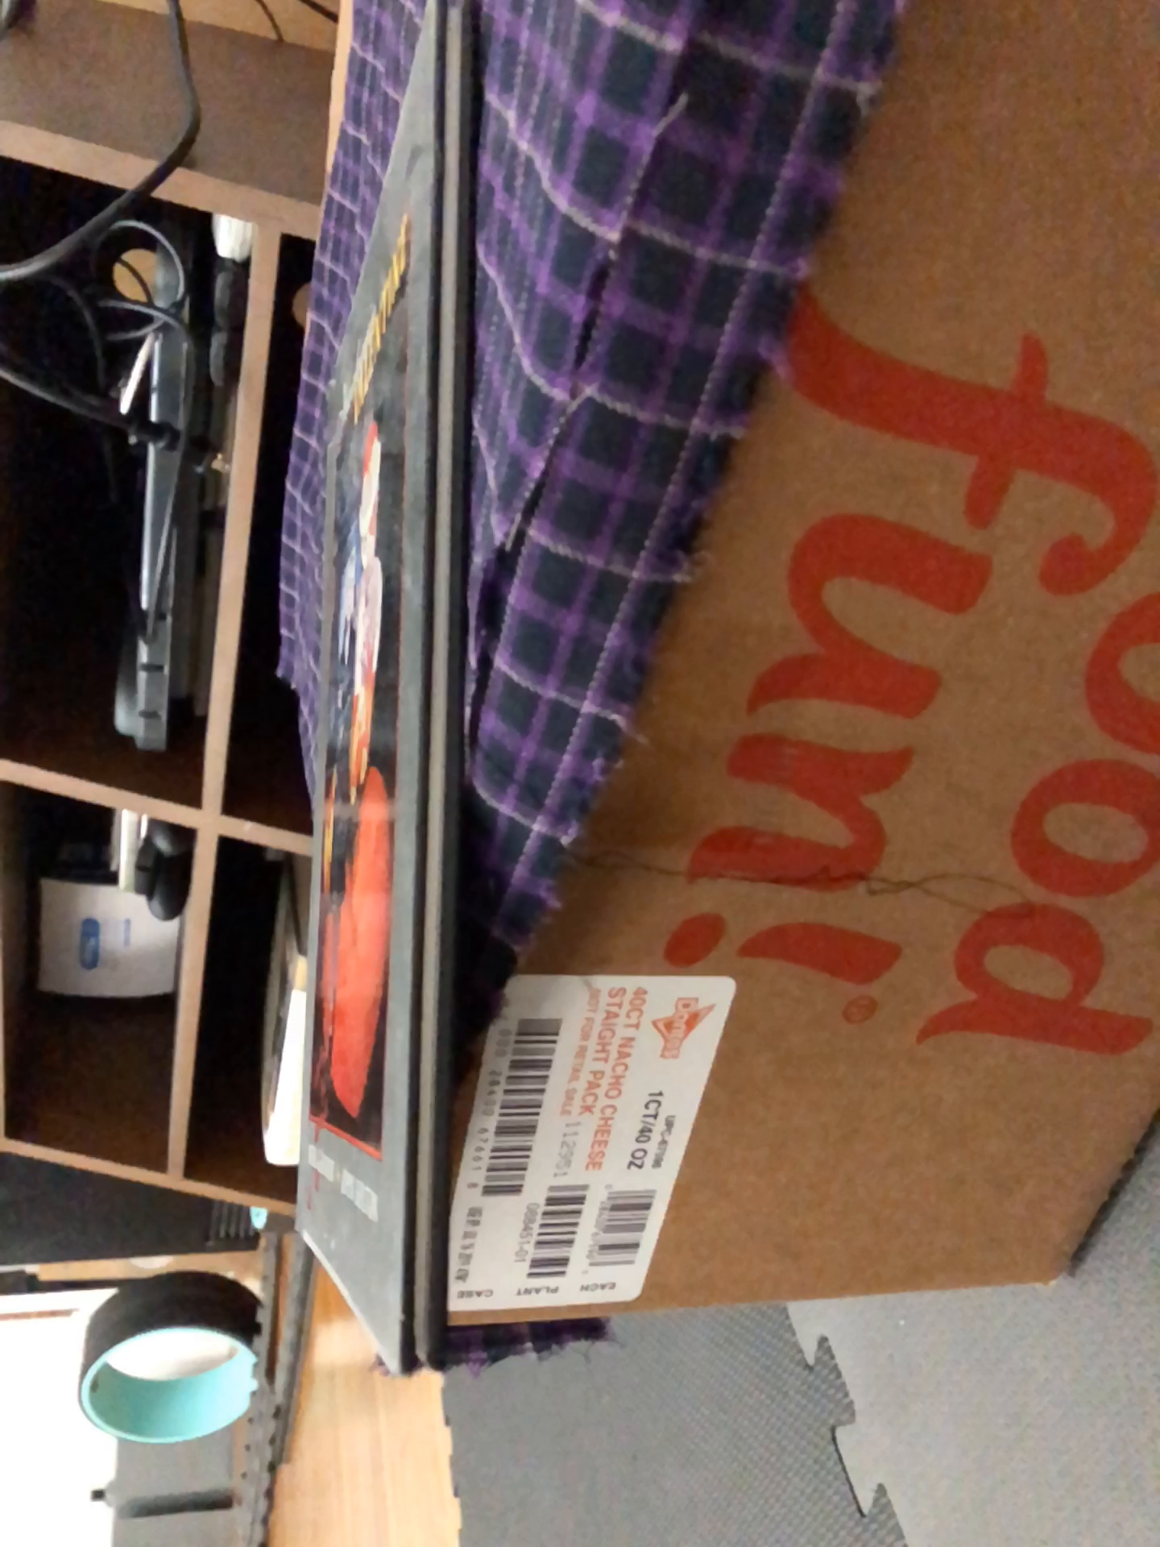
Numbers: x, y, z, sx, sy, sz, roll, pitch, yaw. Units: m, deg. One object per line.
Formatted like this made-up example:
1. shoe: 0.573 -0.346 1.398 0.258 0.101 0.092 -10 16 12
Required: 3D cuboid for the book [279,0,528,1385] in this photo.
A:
1. book: -0.048 -0.025 0.311 0.180 0.020 0.280 146 126 -68
